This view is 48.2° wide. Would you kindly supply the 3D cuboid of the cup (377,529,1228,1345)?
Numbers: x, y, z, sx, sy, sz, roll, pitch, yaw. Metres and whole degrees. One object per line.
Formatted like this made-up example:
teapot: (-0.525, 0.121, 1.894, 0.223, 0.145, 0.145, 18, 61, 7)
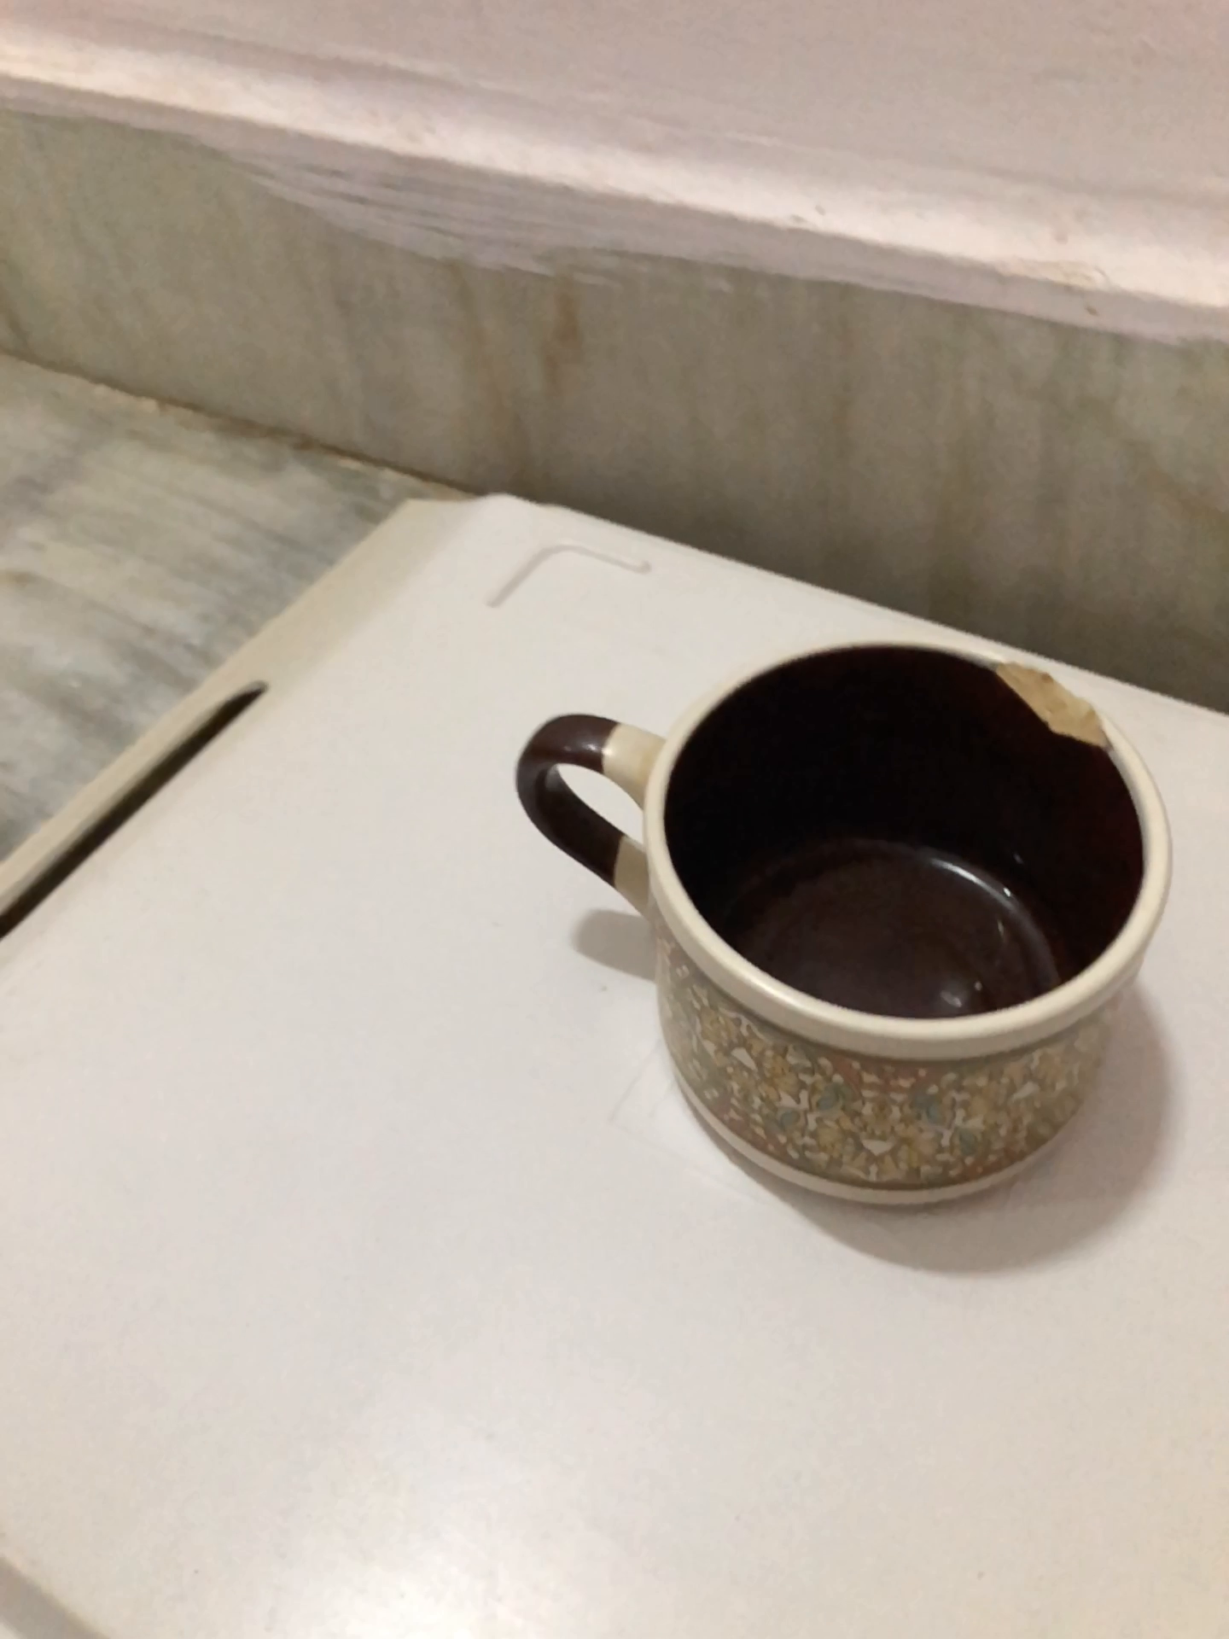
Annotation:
cup: (0.031, 0.013, 0.222, 0.100, 0.060, 0.080, 23, 54, 24)
